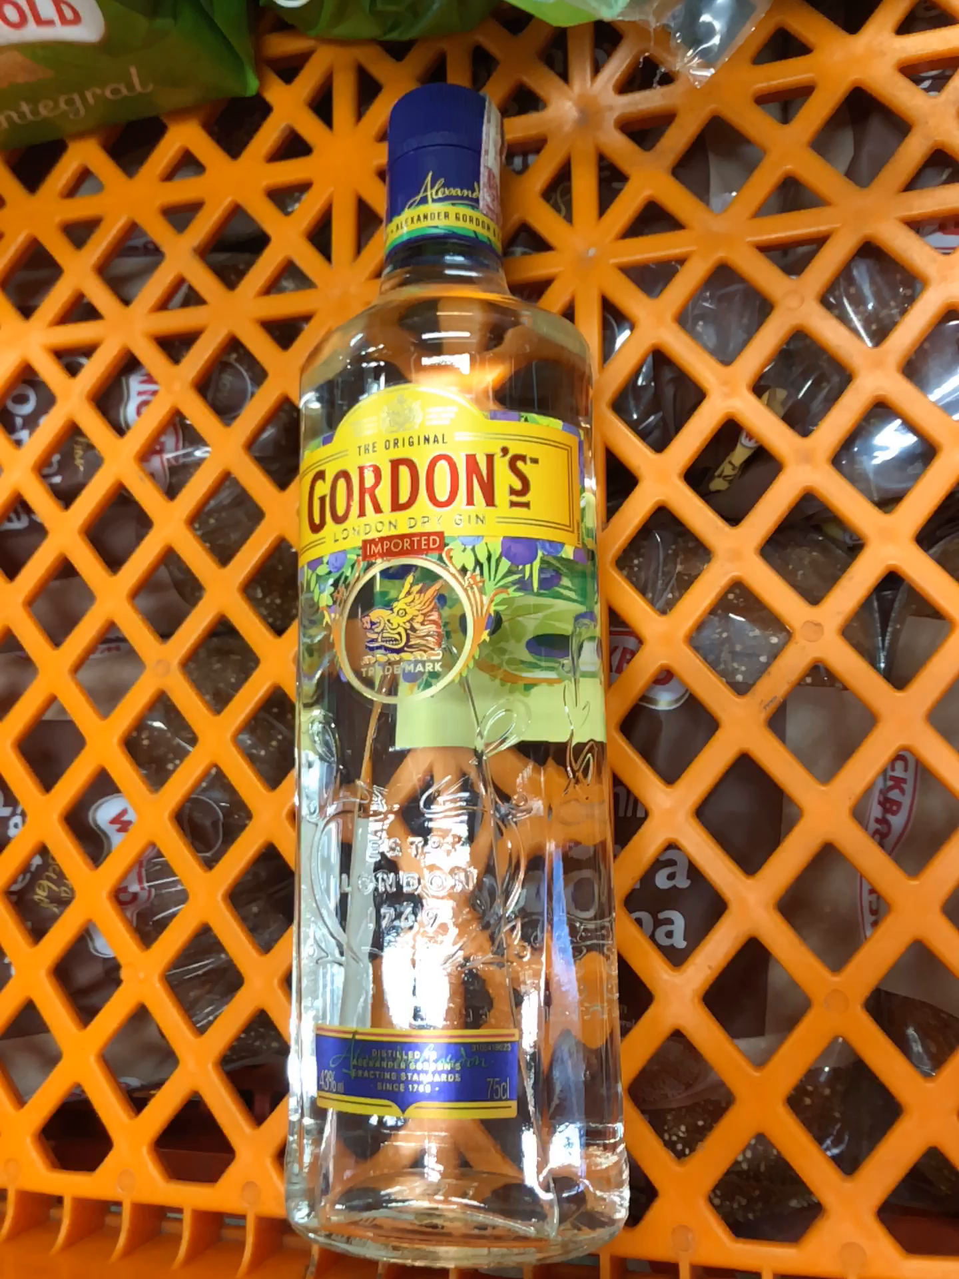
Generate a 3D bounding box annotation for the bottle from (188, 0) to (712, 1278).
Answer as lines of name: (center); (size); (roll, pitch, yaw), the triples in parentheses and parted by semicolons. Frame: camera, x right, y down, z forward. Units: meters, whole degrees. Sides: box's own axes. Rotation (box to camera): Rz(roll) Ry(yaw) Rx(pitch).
bottle: (-0.002, -0.016, 0.276); (0.100, 0.100, 0.310); (-4, 81, 14)
